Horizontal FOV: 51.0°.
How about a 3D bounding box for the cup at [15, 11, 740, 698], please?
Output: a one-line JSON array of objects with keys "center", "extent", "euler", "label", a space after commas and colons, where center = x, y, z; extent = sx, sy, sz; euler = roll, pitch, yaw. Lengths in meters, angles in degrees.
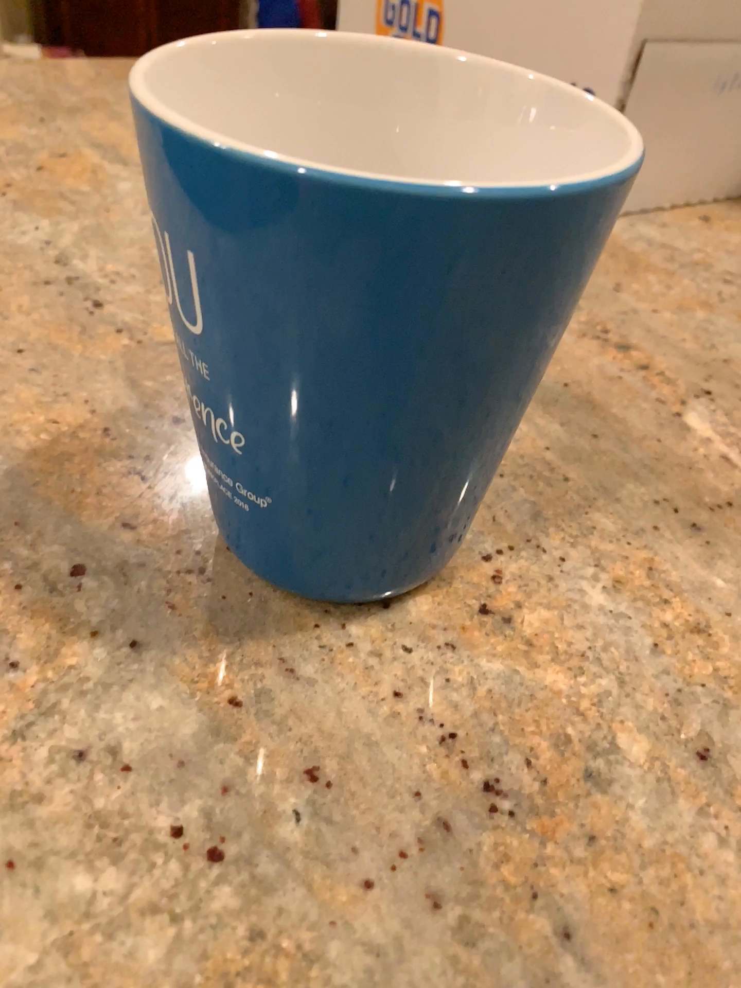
[{"center": [-0.011, -0.050, 0.193], "extent": [0.099, 0.098, 0.138], "euler": [-17, 44, -27], "label": "cup"}]
